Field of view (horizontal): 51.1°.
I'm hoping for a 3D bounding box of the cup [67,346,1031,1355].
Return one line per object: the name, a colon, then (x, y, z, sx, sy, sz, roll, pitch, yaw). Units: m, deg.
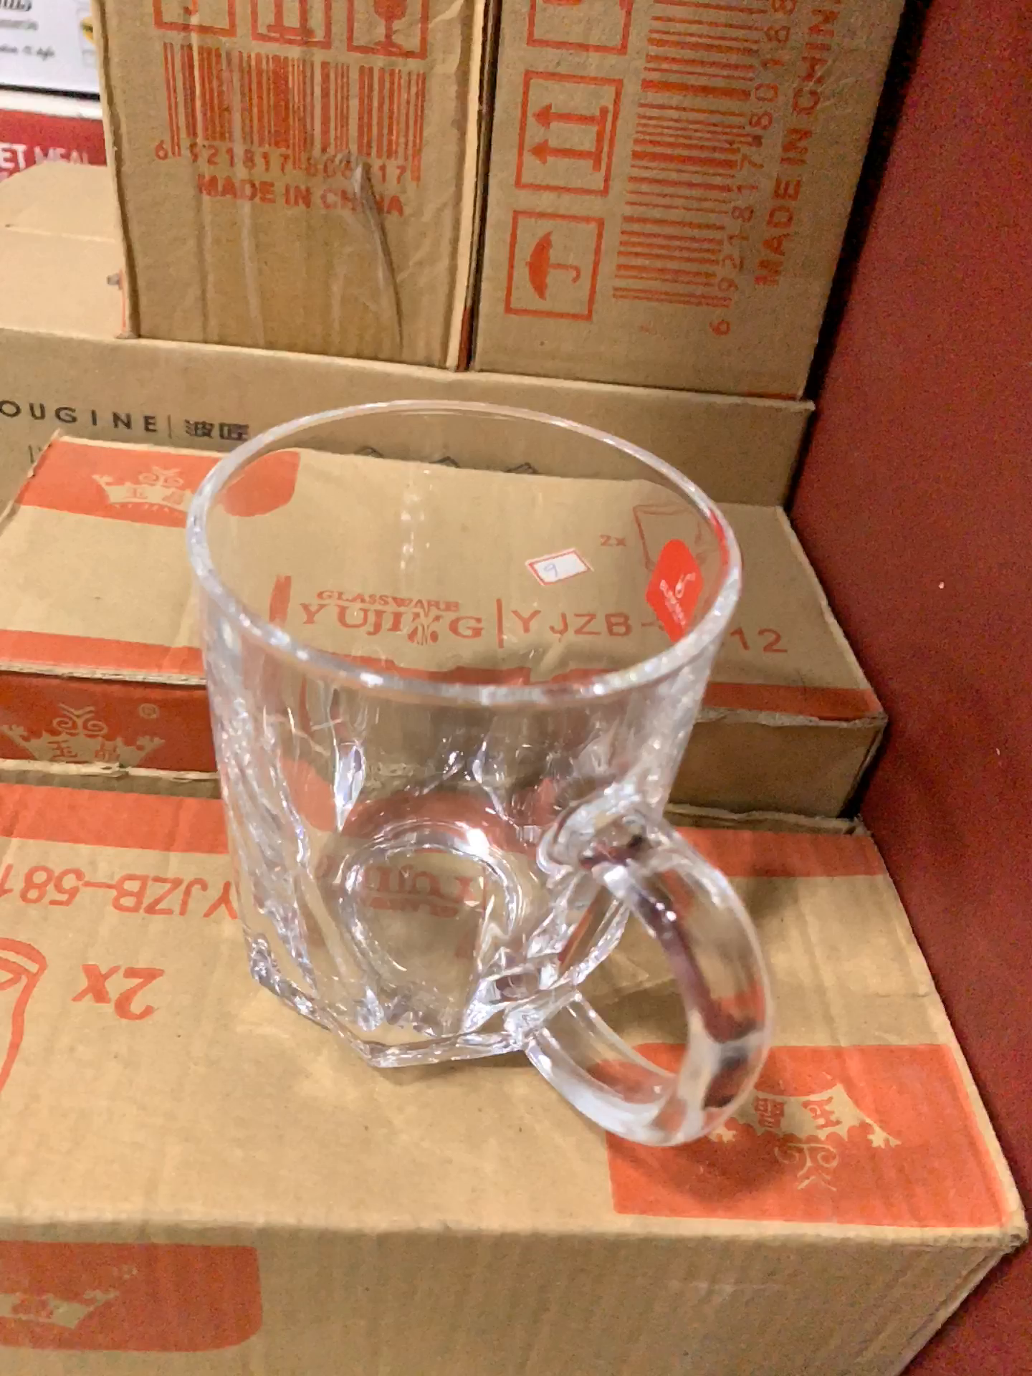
cup: (-0.003, 0.010, 0.149, 0.069, 0.071, 0.100, -22, 46, -34)
